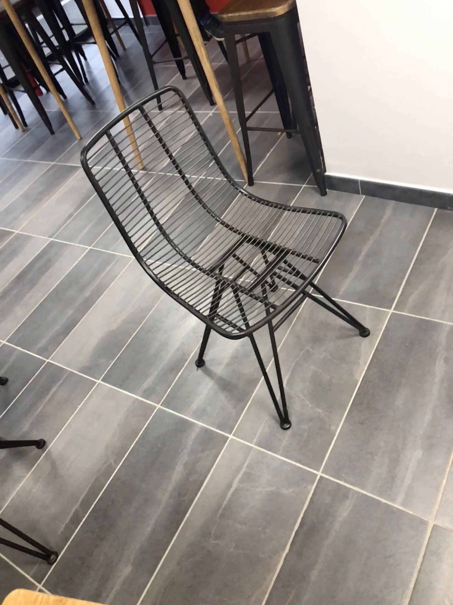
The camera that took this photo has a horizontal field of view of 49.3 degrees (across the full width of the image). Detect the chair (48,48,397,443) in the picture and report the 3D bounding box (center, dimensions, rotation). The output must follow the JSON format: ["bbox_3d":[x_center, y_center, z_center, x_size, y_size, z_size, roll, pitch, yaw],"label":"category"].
[{"bbox_3d":[0.059,-0.139,1.309,0.521,0.786,0.502,29,65,39],"label":"chair"}]
